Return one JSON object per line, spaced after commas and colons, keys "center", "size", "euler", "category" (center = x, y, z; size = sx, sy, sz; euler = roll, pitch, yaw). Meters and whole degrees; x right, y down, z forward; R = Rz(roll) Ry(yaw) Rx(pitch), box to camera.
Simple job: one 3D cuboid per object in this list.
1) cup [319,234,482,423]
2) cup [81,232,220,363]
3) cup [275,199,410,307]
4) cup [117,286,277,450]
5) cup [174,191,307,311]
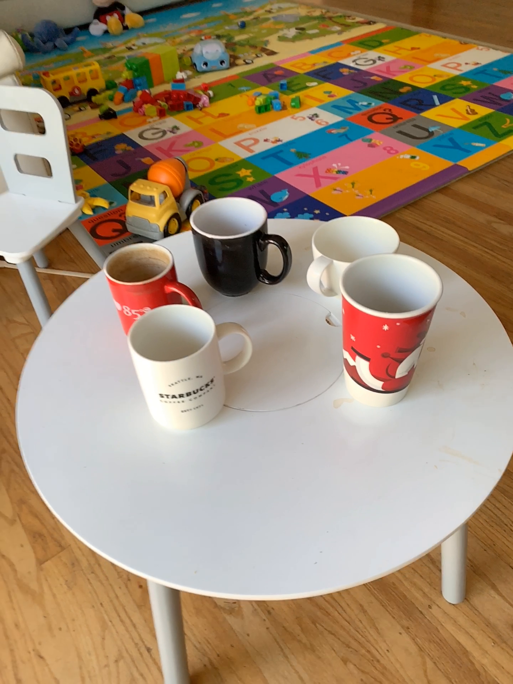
{"center": [0.134, -0.016, 0.537], "size": [0.100, 0.119, 0.131], "euler": [-13, 45, -8], "category": "cup"}
{"center": [-0.119, -0.054, 0.607], "size": [0.120, 0.090, 0.080], "euler": [23, 51, 25], "category": "cup"}
{"center": [0.099, -0.107, 0.605], "size": [0.100, 0.040, 0.120], "euler": [30, 54, 30], "category": "cup"}
{"center": [-0.057, 0.025, 0.525], "size": [0.130, 0.100, 0.090], "euler": [-15, 45, -10], "category": "cup"}
{"center": [-0.016, -0.116, 0.649], "size": [0.130, 0.080, 0.090], "euler": [23, 51, 25], "category": "cup"}
